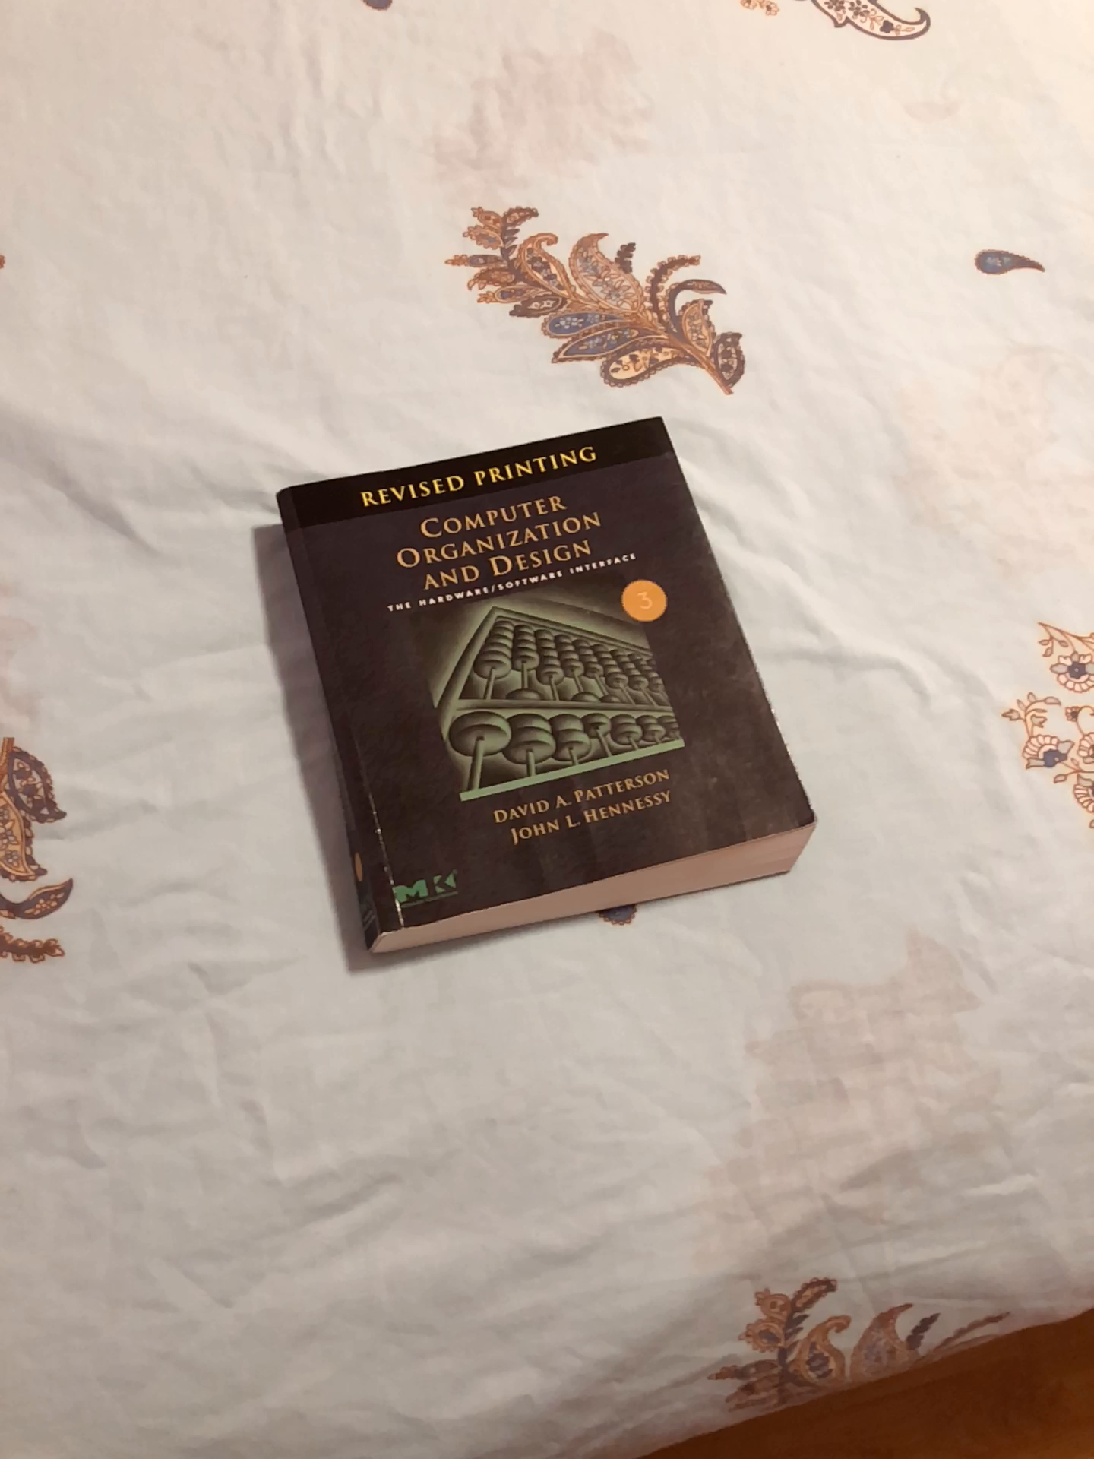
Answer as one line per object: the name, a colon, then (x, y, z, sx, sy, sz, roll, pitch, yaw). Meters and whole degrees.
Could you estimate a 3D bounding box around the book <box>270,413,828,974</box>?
book: (-0.007, -0.024, 0.582, 0.201, 0.073, 0.225, -12, 69, -13)
